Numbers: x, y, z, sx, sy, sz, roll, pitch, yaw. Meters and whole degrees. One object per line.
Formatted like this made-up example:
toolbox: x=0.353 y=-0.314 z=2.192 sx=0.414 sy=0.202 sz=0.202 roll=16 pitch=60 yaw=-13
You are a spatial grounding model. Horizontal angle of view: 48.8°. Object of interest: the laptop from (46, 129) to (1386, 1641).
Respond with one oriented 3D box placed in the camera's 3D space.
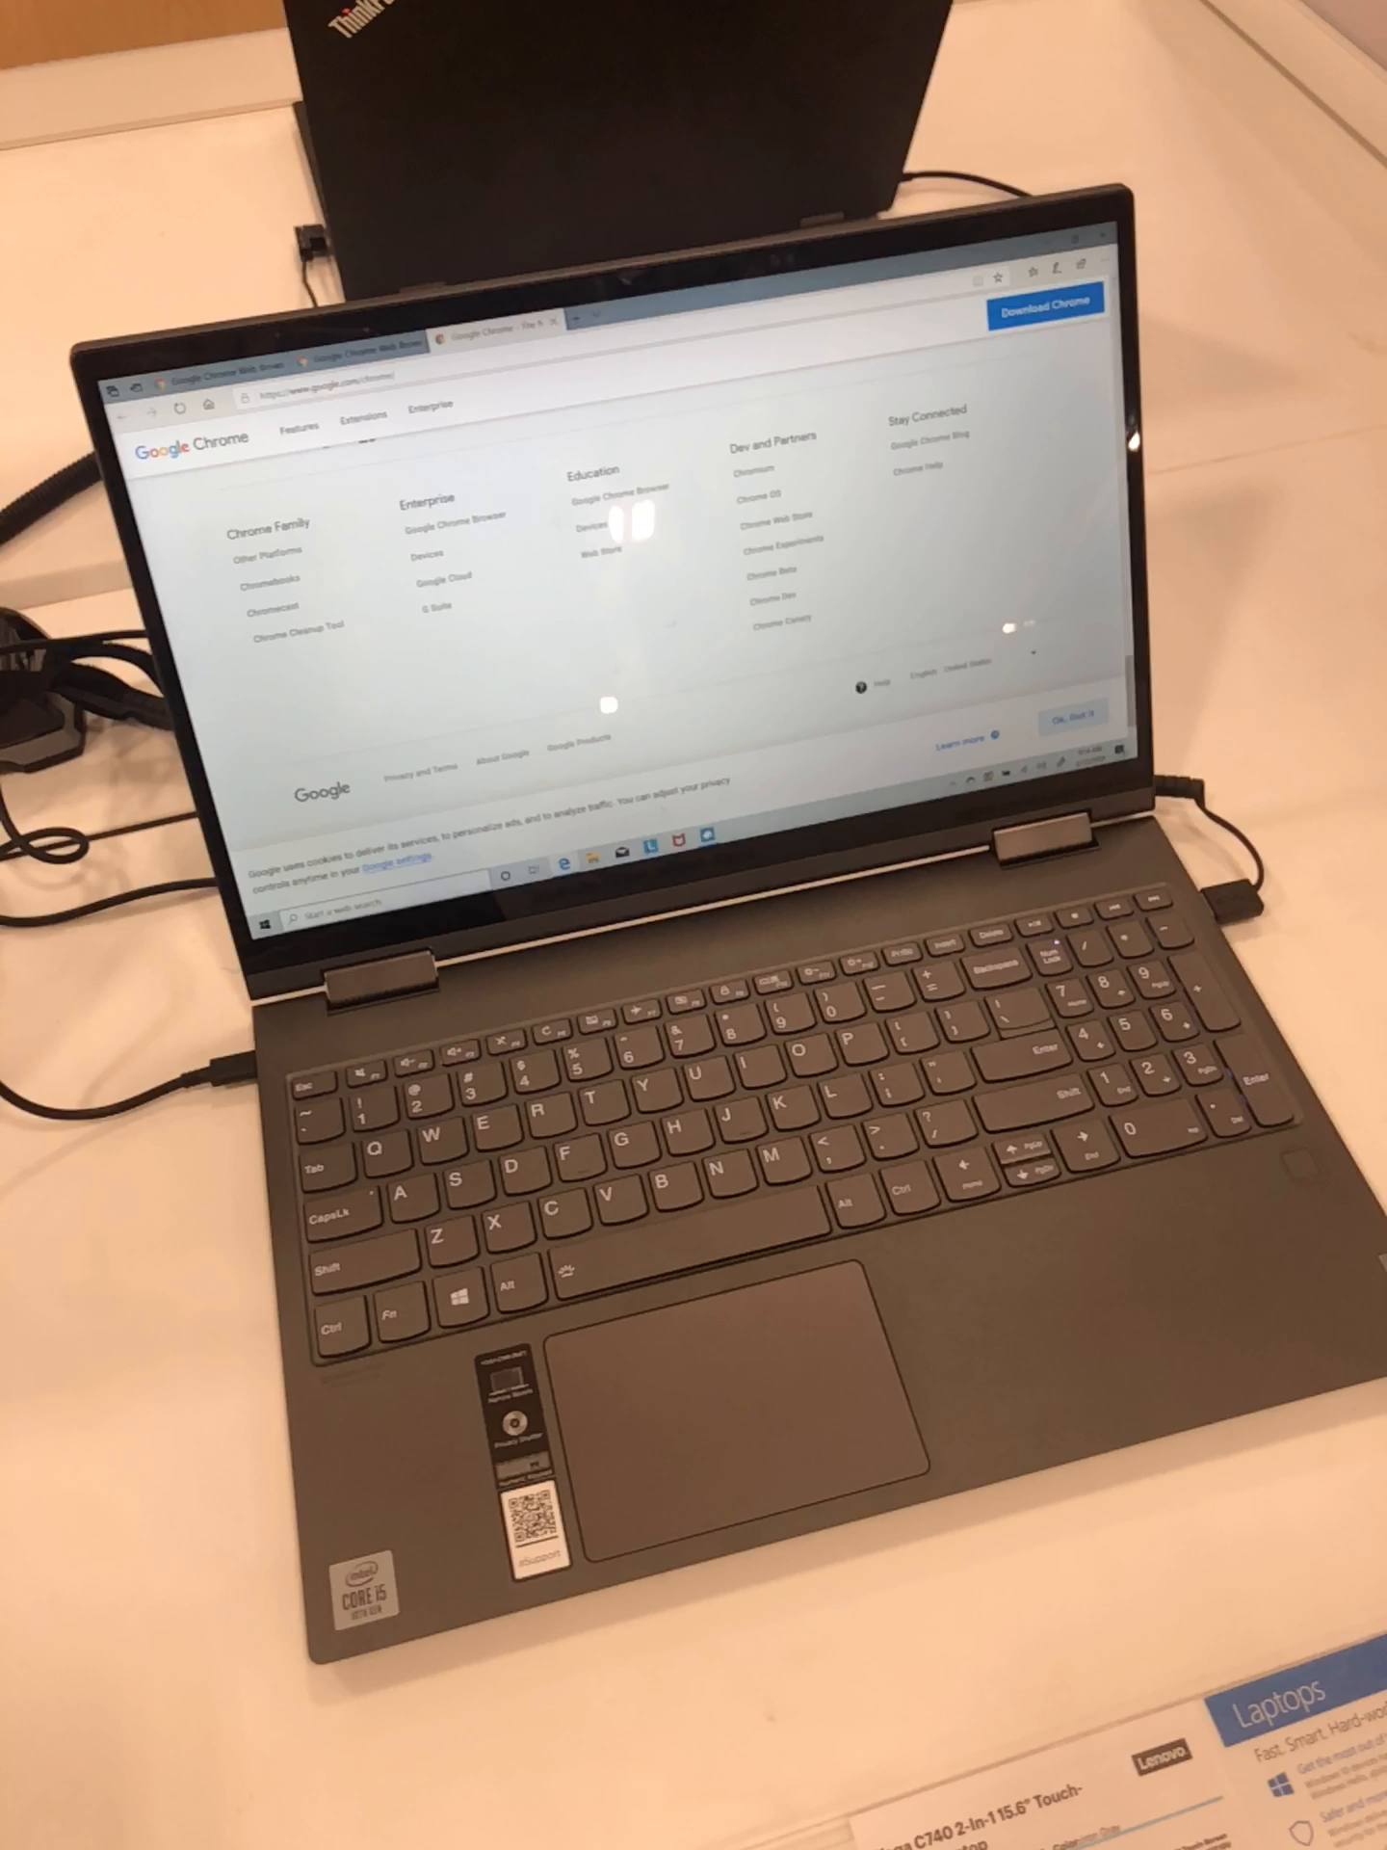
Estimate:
laptop: x=0.017 y=-0.034 z=0.480 sx=0.352 sy=0.179 sz=0.365 roll=-12 pitch=58 yaw=-8
